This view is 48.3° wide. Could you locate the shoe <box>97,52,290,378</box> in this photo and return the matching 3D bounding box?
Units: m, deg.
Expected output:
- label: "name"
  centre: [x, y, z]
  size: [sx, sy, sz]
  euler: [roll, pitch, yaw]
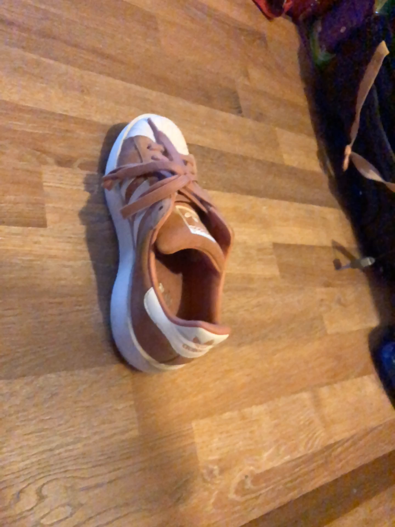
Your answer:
- label: "shoe"
  centre: [-0.014, -0.036, 0.410]
  size: [0.110, 0.109, 0.261]
  euler: [9, 66, -37]
